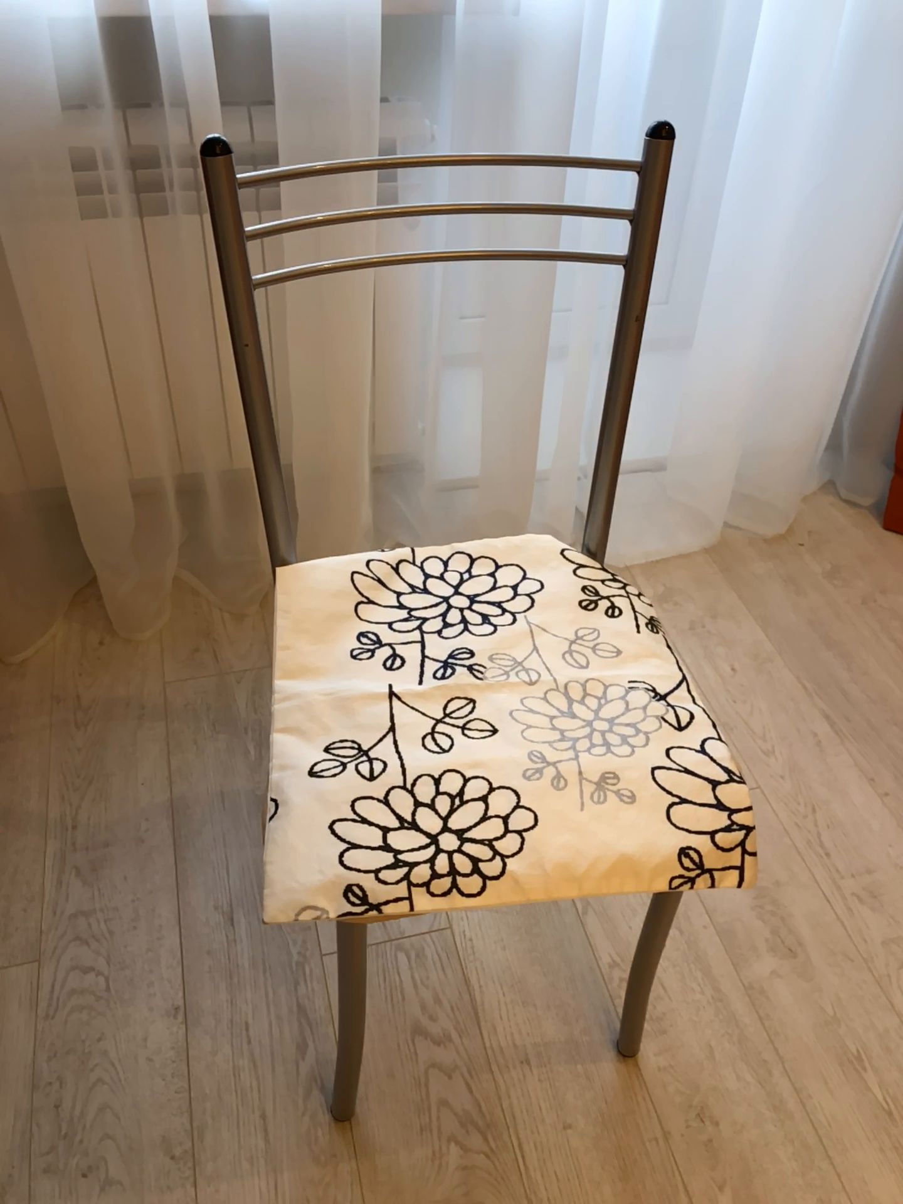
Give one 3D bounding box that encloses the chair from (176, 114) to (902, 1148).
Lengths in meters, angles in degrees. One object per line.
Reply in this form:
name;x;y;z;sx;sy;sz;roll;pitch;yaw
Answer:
chair;0.035;0.056;0.898;0.420;0.794;0.443;-8;42;-13
